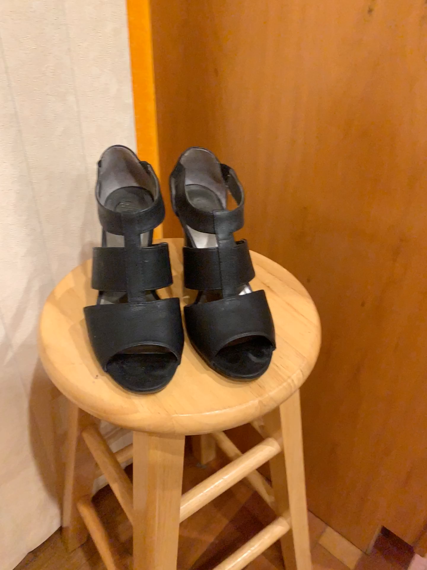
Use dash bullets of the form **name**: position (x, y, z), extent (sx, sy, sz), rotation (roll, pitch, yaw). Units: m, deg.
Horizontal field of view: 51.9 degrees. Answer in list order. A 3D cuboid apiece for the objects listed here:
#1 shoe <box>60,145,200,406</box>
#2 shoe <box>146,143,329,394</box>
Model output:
- **shoe**: position (-0.081, -0.030, 0.419), extent (0.090, 0.125, 0.245), rotation (-6, 36, -11)
- **shoe**: position (0.003, -0.035, 0.432), extent (0.100, 0.130, 0.235), rotation (-7, 37, -13)
